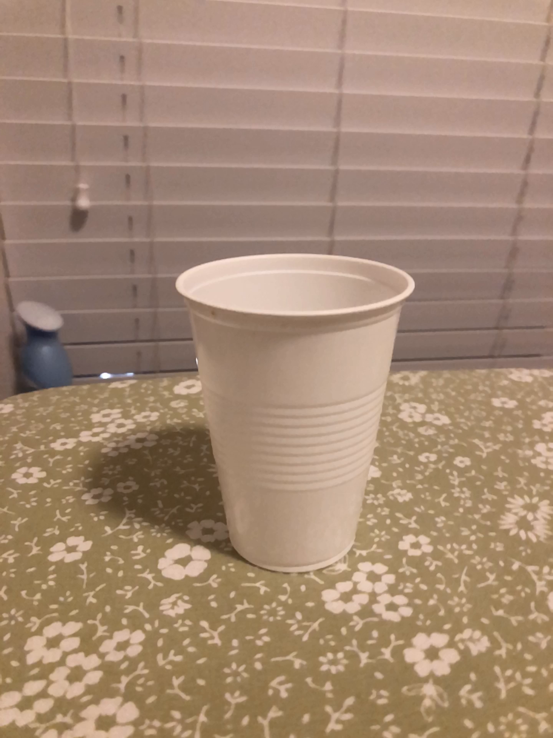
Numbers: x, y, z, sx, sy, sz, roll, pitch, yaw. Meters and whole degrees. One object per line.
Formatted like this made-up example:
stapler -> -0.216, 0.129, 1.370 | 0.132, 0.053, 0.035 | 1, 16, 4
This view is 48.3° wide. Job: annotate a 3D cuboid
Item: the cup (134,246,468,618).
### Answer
cup -> 0.005, 0.012, 0.216 | 0.079, 0.090, 0.078 | -1, 21, 0
